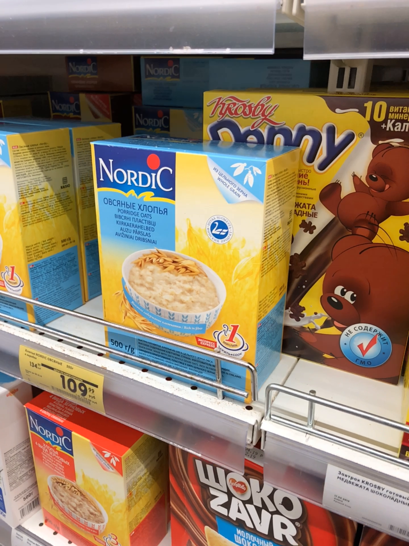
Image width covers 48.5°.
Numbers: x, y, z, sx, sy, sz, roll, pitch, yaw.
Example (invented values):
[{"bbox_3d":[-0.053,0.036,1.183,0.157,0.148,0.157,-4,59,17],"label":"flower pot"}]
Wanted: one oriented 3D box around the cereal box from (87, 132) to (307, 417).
[{"bbox_3d":[-0.008,-0.006,0.378,0.150,0.199,0.070,13,25,26],"label":"cereal box"}]
